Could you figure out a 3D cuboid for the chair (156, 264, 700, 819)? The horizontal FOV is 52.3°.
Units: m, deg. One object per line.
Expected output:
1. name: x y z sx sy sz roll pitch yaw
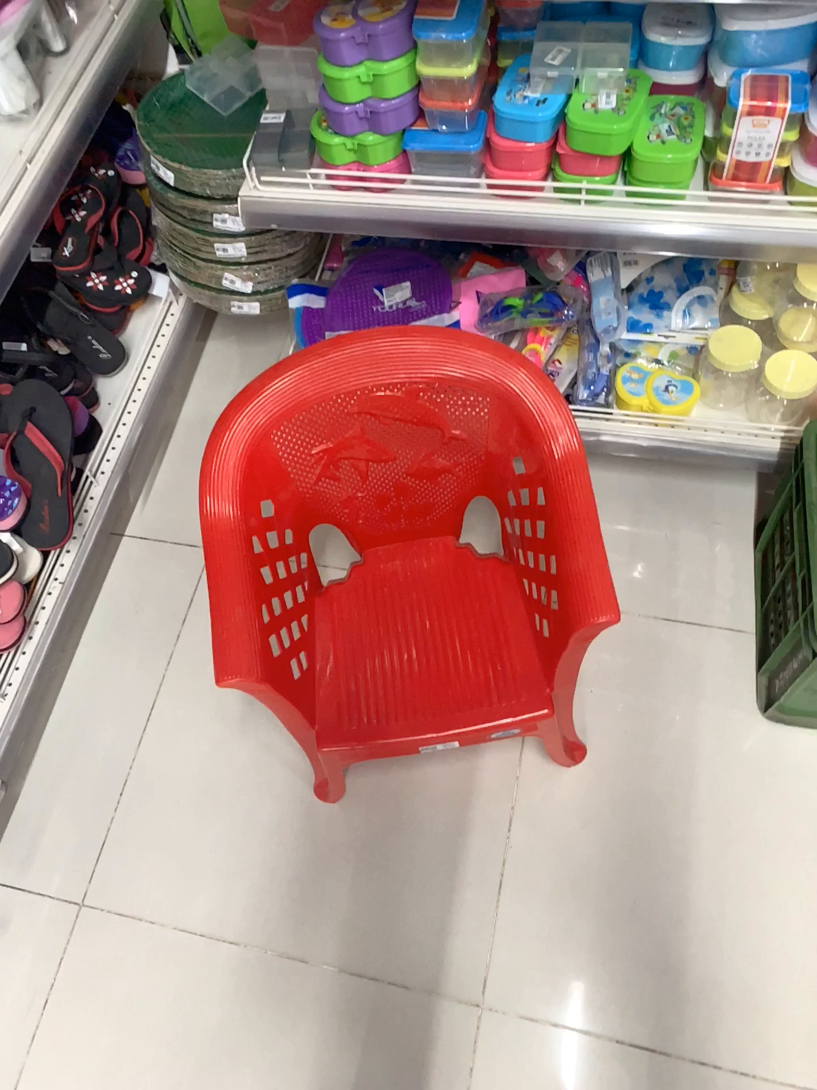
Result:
1. chair: 0.018 0.032 1.084 0.500 0.479 0.491 -8 62 4
